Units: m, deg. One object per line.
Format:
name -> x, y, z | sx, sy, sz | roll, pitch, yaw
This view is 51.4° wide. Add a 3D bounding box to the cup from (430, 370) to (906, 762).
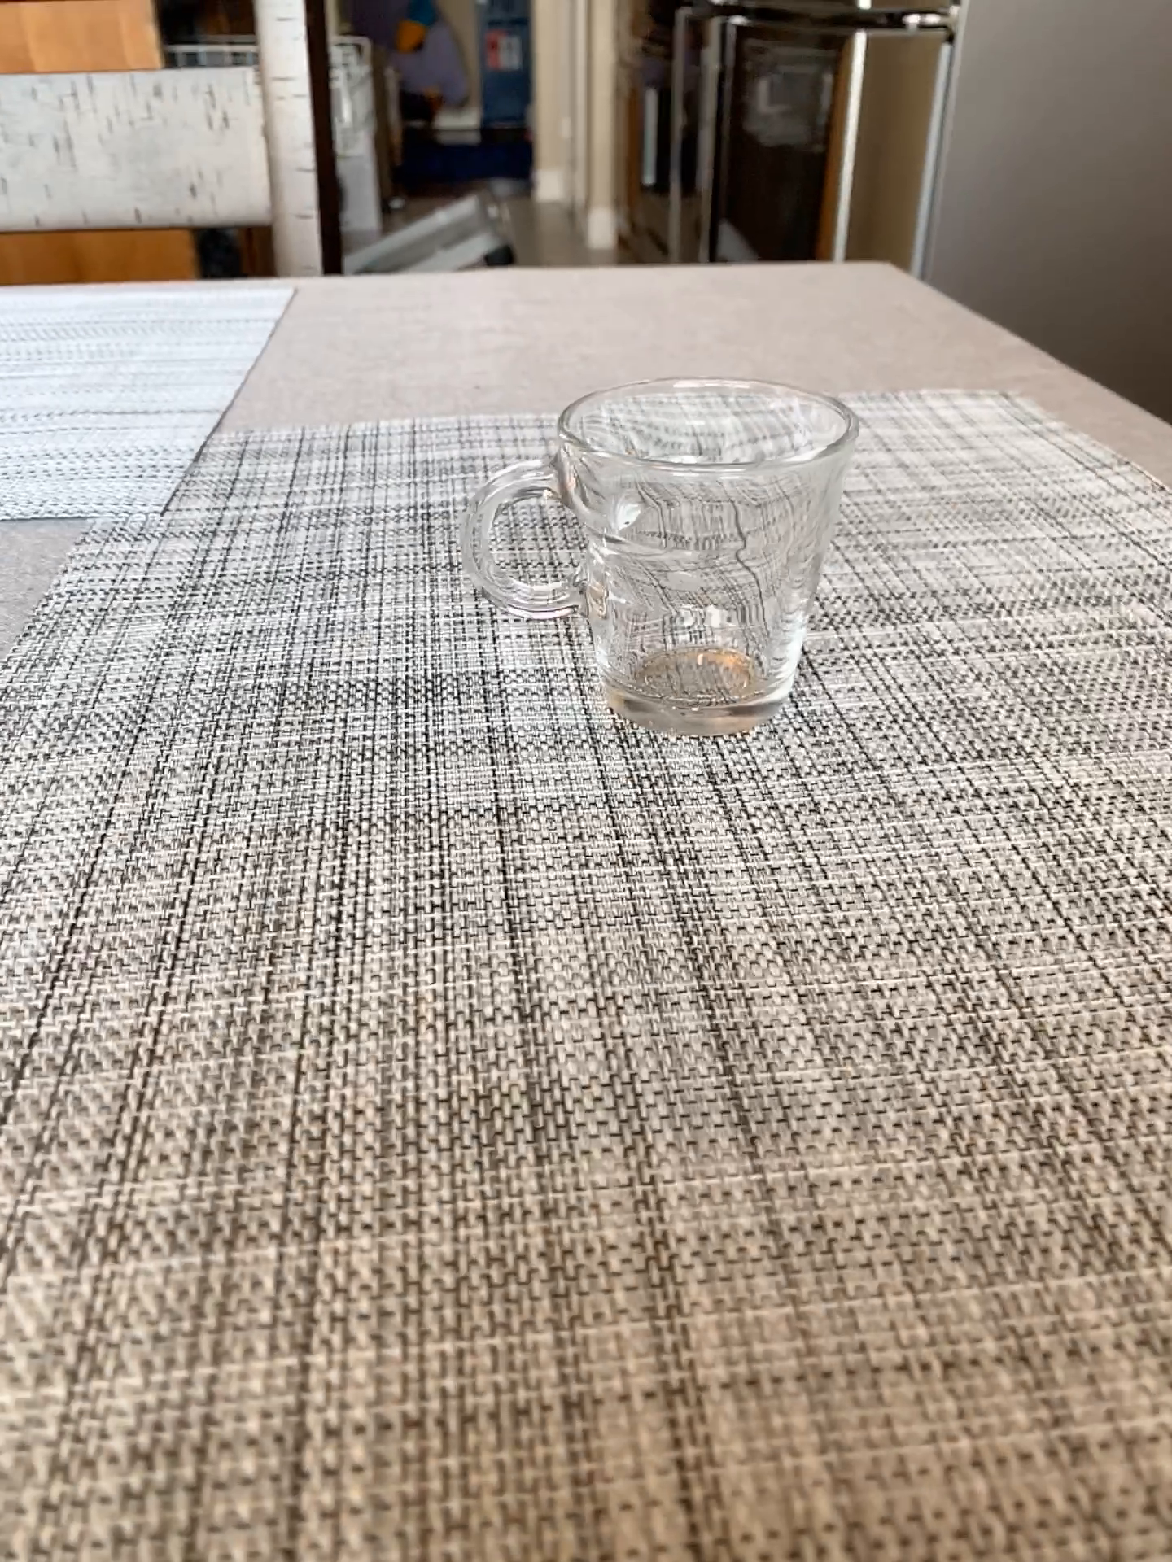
cup -> 0.011, -0.046, 0.250 | 0.082, 0.060, 0.058 | -2, 33, -7
